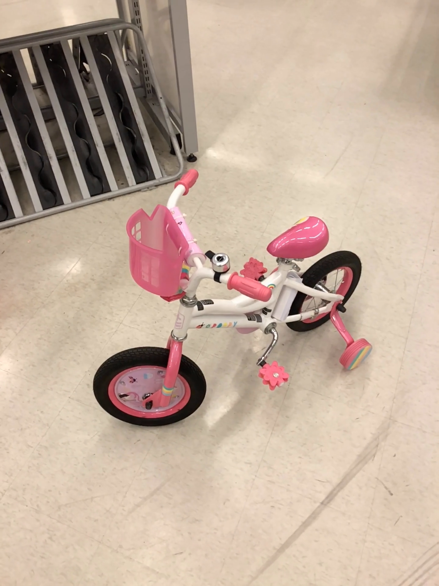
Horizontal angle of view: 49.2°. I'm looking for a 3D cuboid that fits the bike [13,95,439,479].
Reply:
[{"bbox_3d":[0.052,-0.010,1.311,0.879,0.632,0.458,-25,54,-15],"label":"bike"}]
